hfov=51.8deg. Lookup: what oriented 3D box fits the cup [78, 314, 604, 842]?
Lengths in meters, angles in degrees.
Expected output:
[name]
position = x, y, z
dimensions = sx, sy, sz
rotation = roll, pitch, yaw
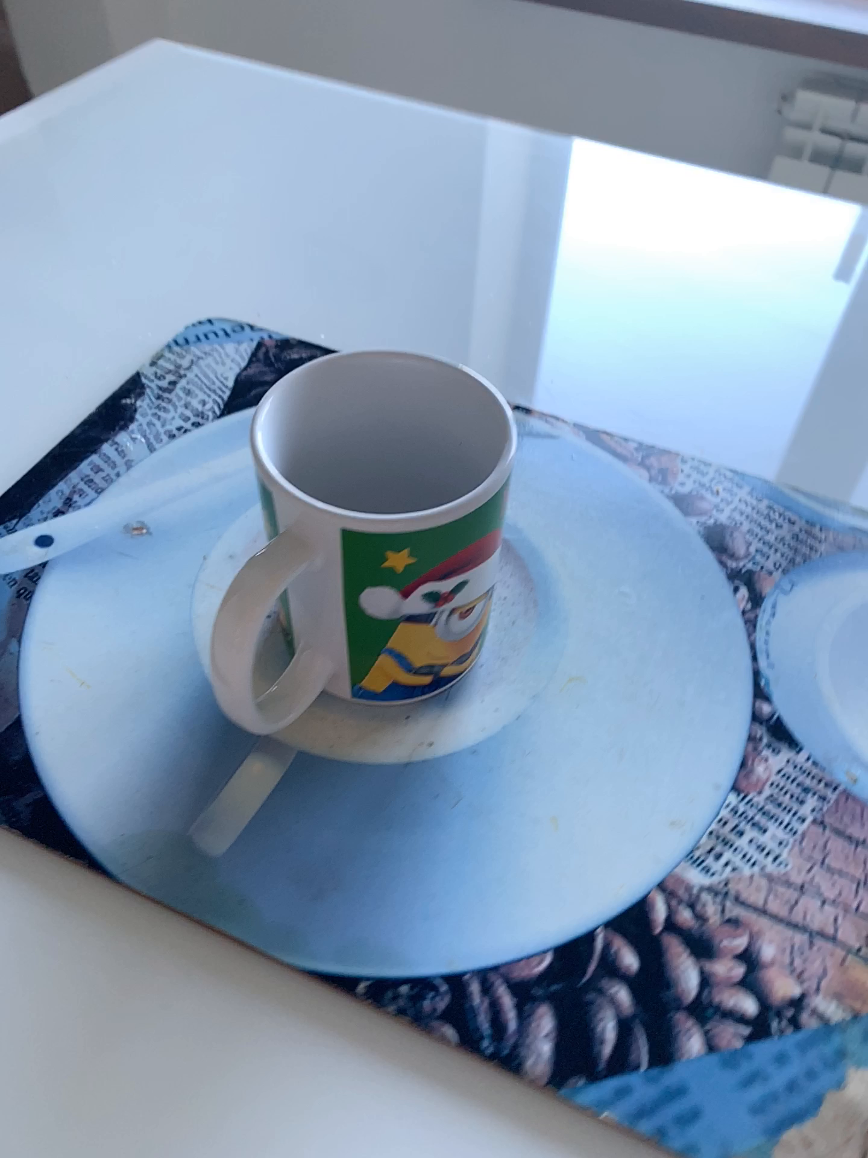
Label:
[cup]
position = -0.023, -0.007, 0.295
dimensions = 0.094, 0.077, 0.134
rotation = 28, 54, 20
